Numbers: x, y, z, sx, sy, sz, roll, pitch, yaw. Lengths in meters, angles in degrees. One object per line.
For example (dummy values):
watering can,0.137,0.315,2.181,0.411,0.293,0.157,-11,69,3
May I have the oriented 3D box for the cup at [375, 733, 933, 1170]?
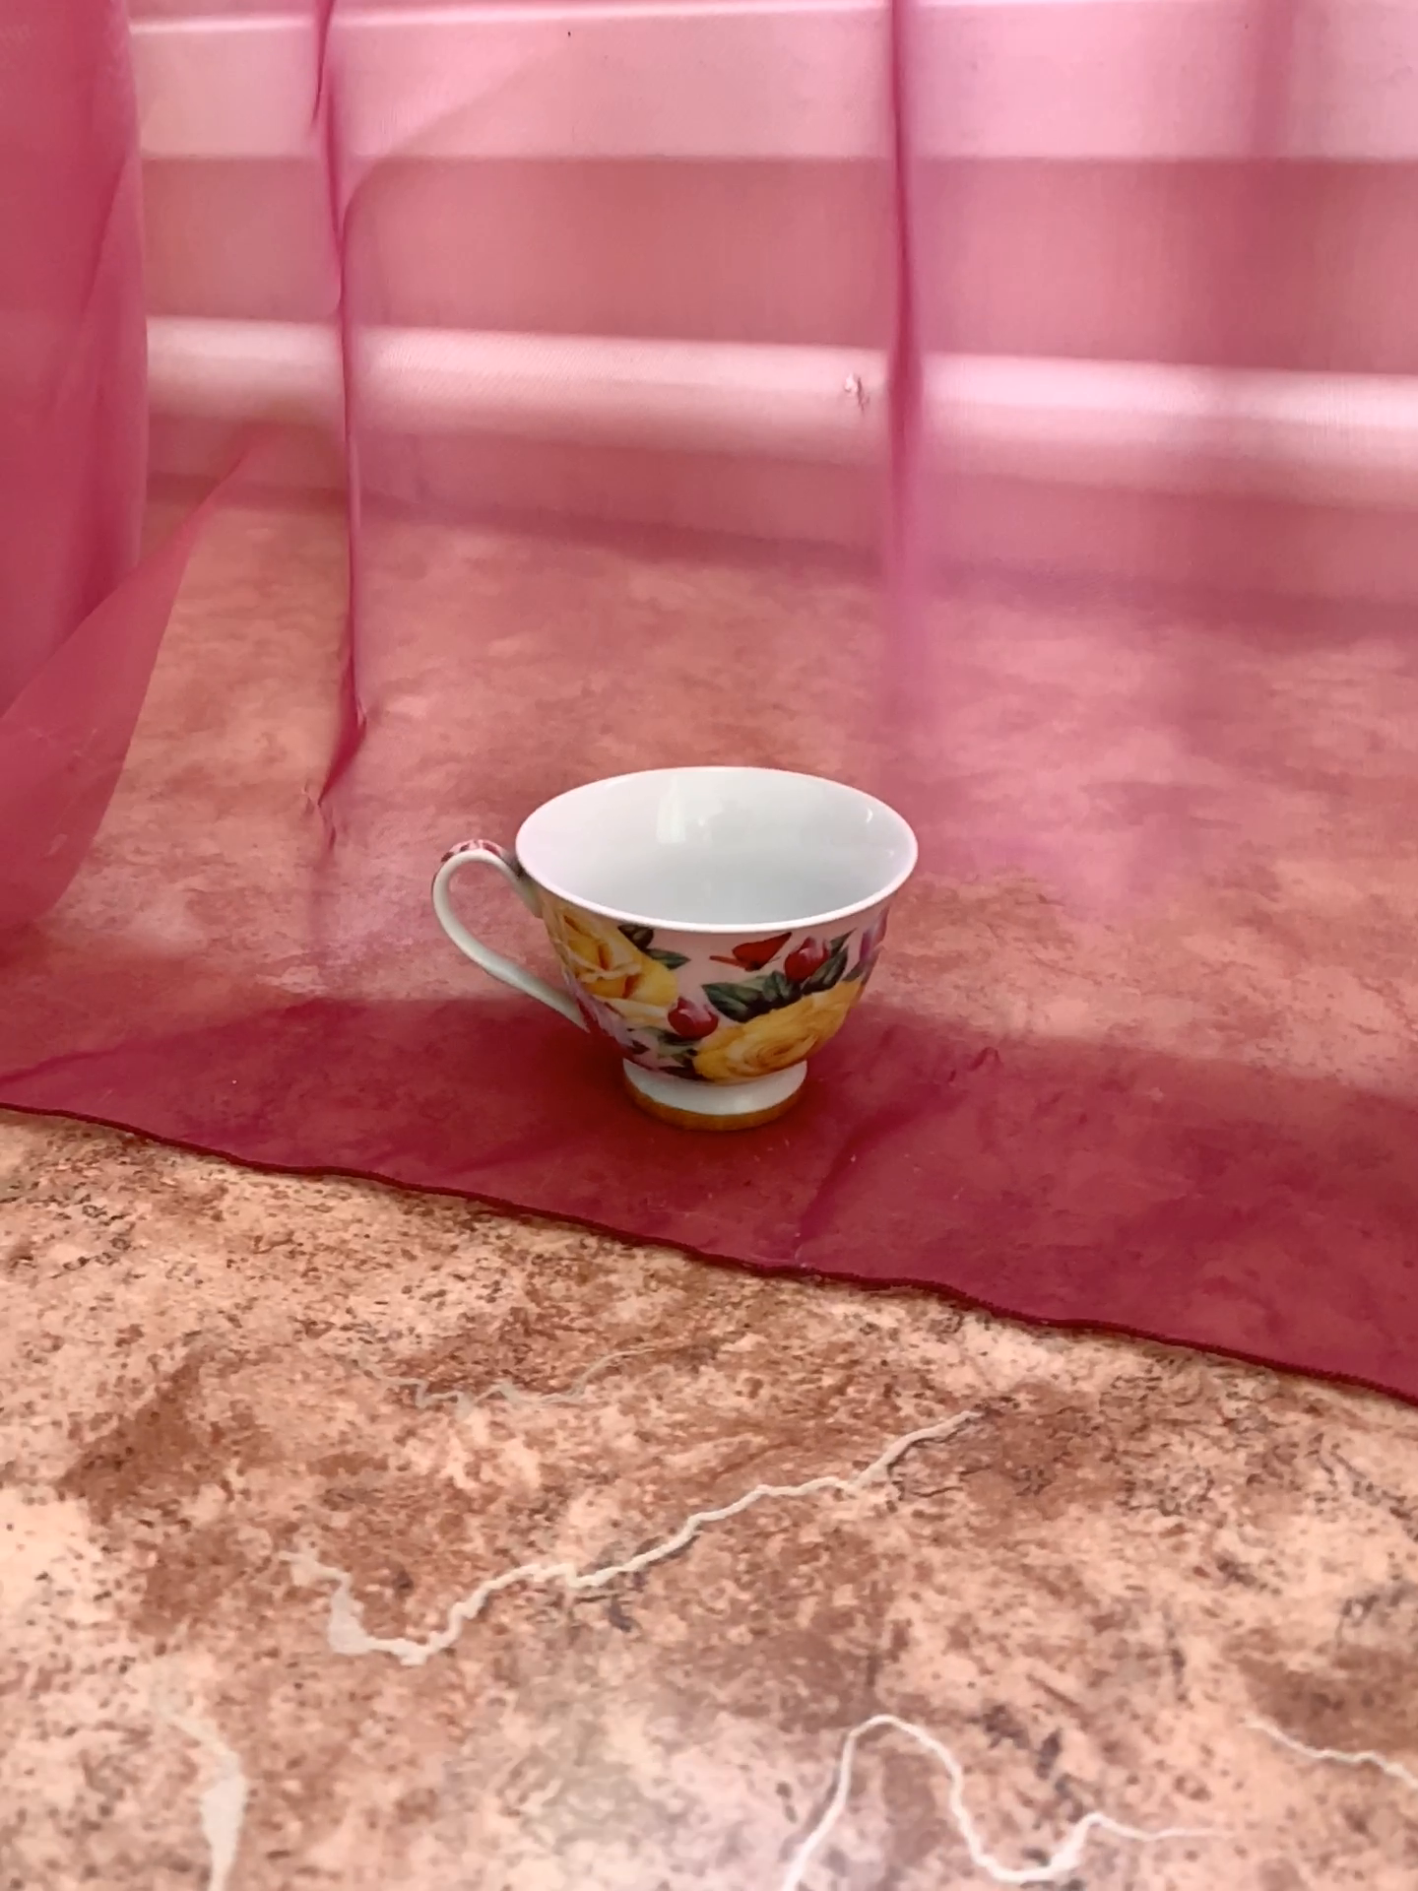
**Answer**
cup,-0.008,-0.003,0.342,0.109,0.060,0.079,7,28,11
